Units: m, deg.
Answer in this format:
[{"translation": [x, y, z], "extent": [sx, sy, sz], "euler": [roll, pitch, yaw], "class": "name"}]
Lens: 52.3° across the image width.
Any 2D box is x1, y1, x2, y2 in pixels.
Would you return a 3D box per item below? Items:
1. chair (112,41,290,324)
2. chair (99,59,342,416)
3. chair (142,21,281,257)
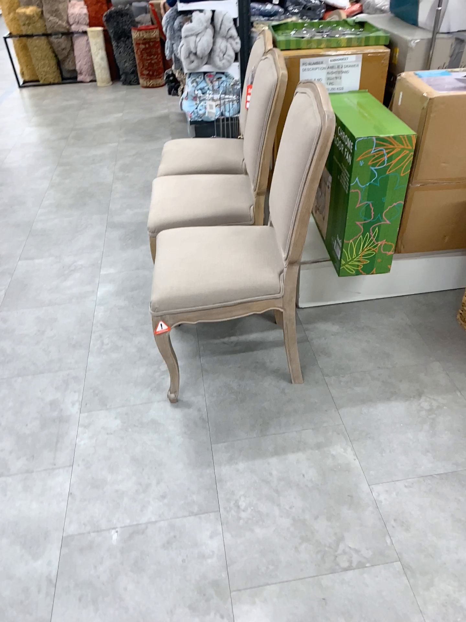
[{"translation": [-0.093, -0.507, 1.943], "extent": [0.545, 0.973, 0.511], "euler": [-3, 35, -1], "class": "chair"}, {"translation": [-0.037, -0.220, 1.544], "extent": [0.545, 0.973, 0.511], "euler": [-6, 35, -5], "class": "chair"}, {"translation": [-0.079, -0.837, 2.352], "extent": [0.545, 0.973, 0.511], "euler": [-3, 35, -1], "class": "chair"}]
